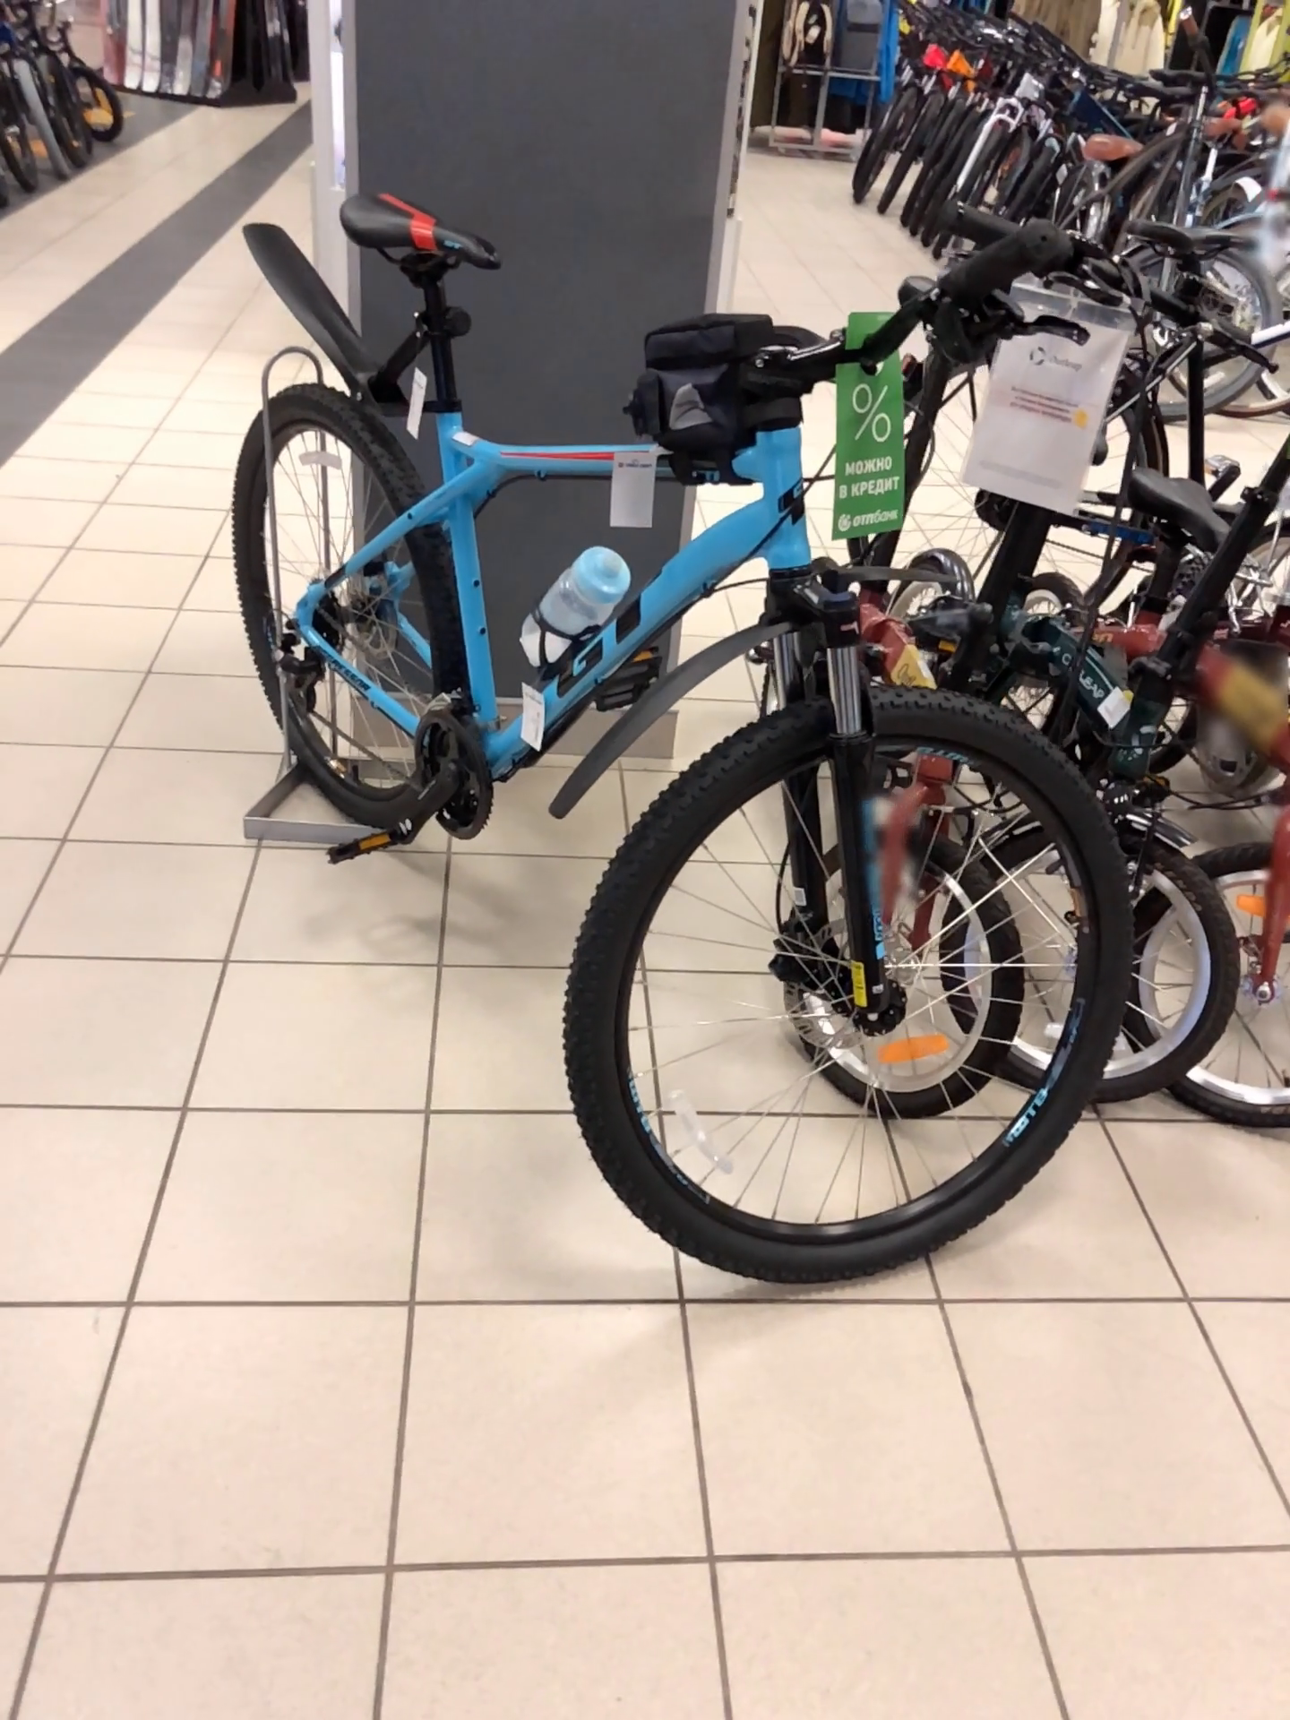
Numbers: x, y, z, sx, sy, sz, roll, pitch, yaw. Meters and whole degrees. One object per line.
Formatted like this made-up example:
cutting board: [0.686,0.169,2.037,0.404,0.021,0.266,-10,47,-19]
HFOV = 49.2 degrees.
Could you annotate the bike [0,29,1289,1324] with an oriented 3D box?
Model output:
bike: [-0.066,-0.373,1.925,1.613,1.084,0.694,28,38,29]
